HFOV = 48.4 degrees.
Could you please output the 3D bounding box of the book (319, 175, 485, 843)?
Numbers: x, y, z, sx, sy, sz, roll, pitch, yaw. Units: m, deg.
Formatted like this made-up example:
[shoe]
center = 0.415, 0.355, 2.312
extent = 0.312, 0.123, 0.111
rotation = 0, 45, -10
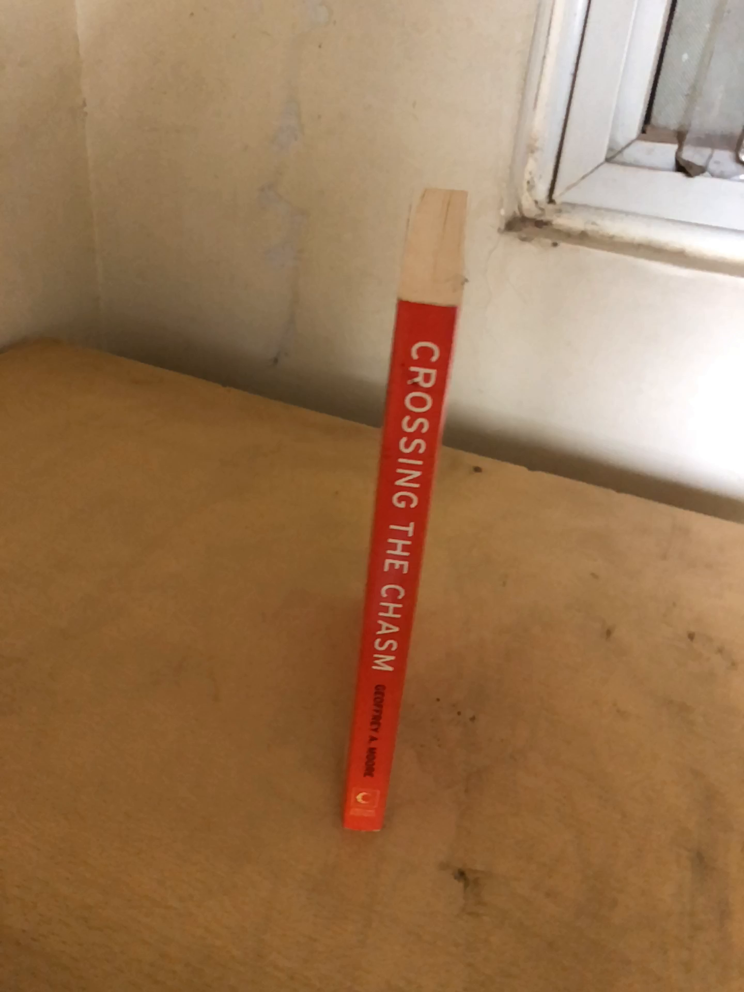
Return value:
[book]
center = 0.011, -0.002, 0.318
extent = 0.030, 0.199, 0.161
rotation = 7, 32, 2
